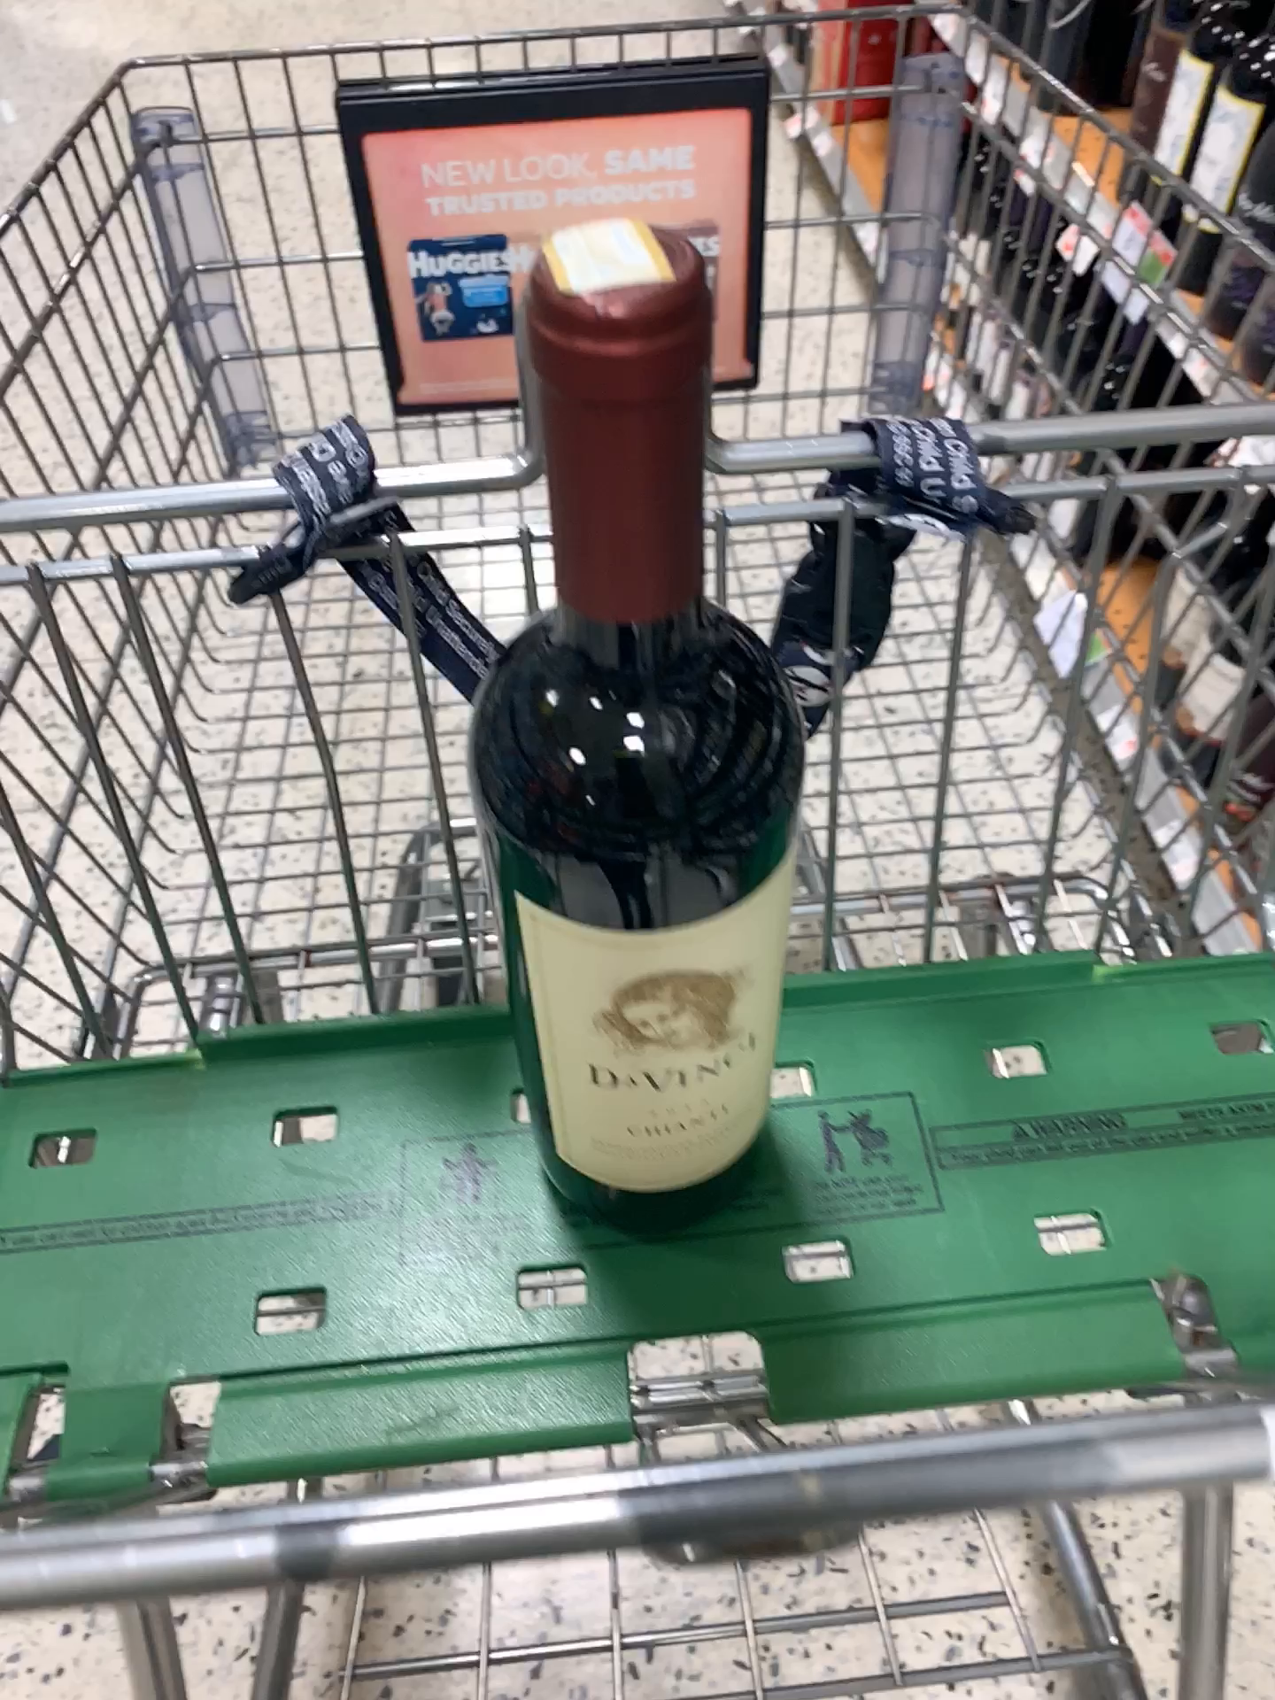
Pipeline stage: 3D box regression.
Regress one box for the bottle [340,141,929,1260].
[{"bbox_3d":[-0.001,-0.003,0.305,0.080,0.268,0.081,-1,50,1],"label":"bottle"}]
